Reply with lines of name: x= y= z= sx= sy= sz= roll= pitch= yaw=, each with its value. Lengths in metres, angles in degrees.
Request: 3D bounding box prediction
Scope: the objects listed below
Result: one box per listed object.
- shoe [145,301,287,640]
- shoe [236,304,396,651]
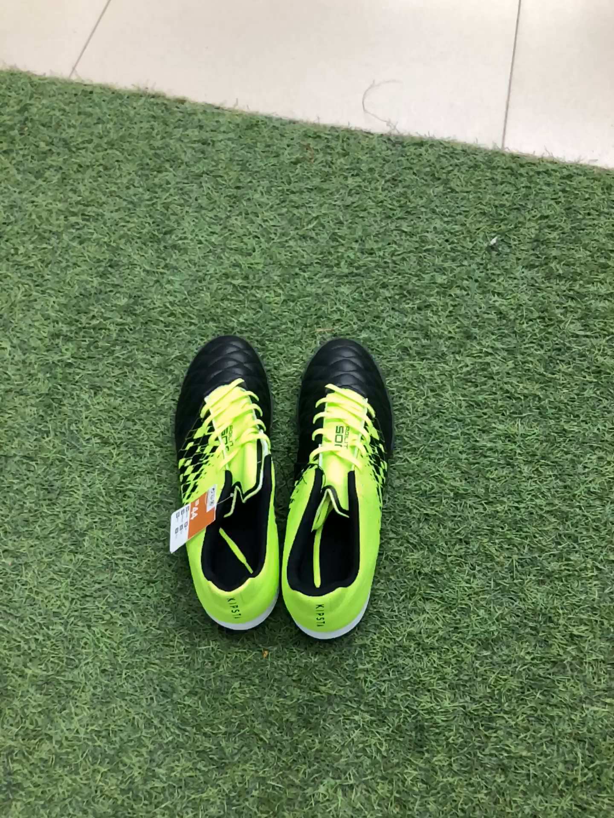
shoe: x=-0.077 y=0.049 z=0.602 sx=0.100 sy=0.090 sz=0.281 roll=-4 pitch=64 yaw=0
shoe: x=0.016 y=0.054 z=0.591 sx=0.100 sy=0.090 sz=0.281 roll=5 pitch=64 yaw=4
